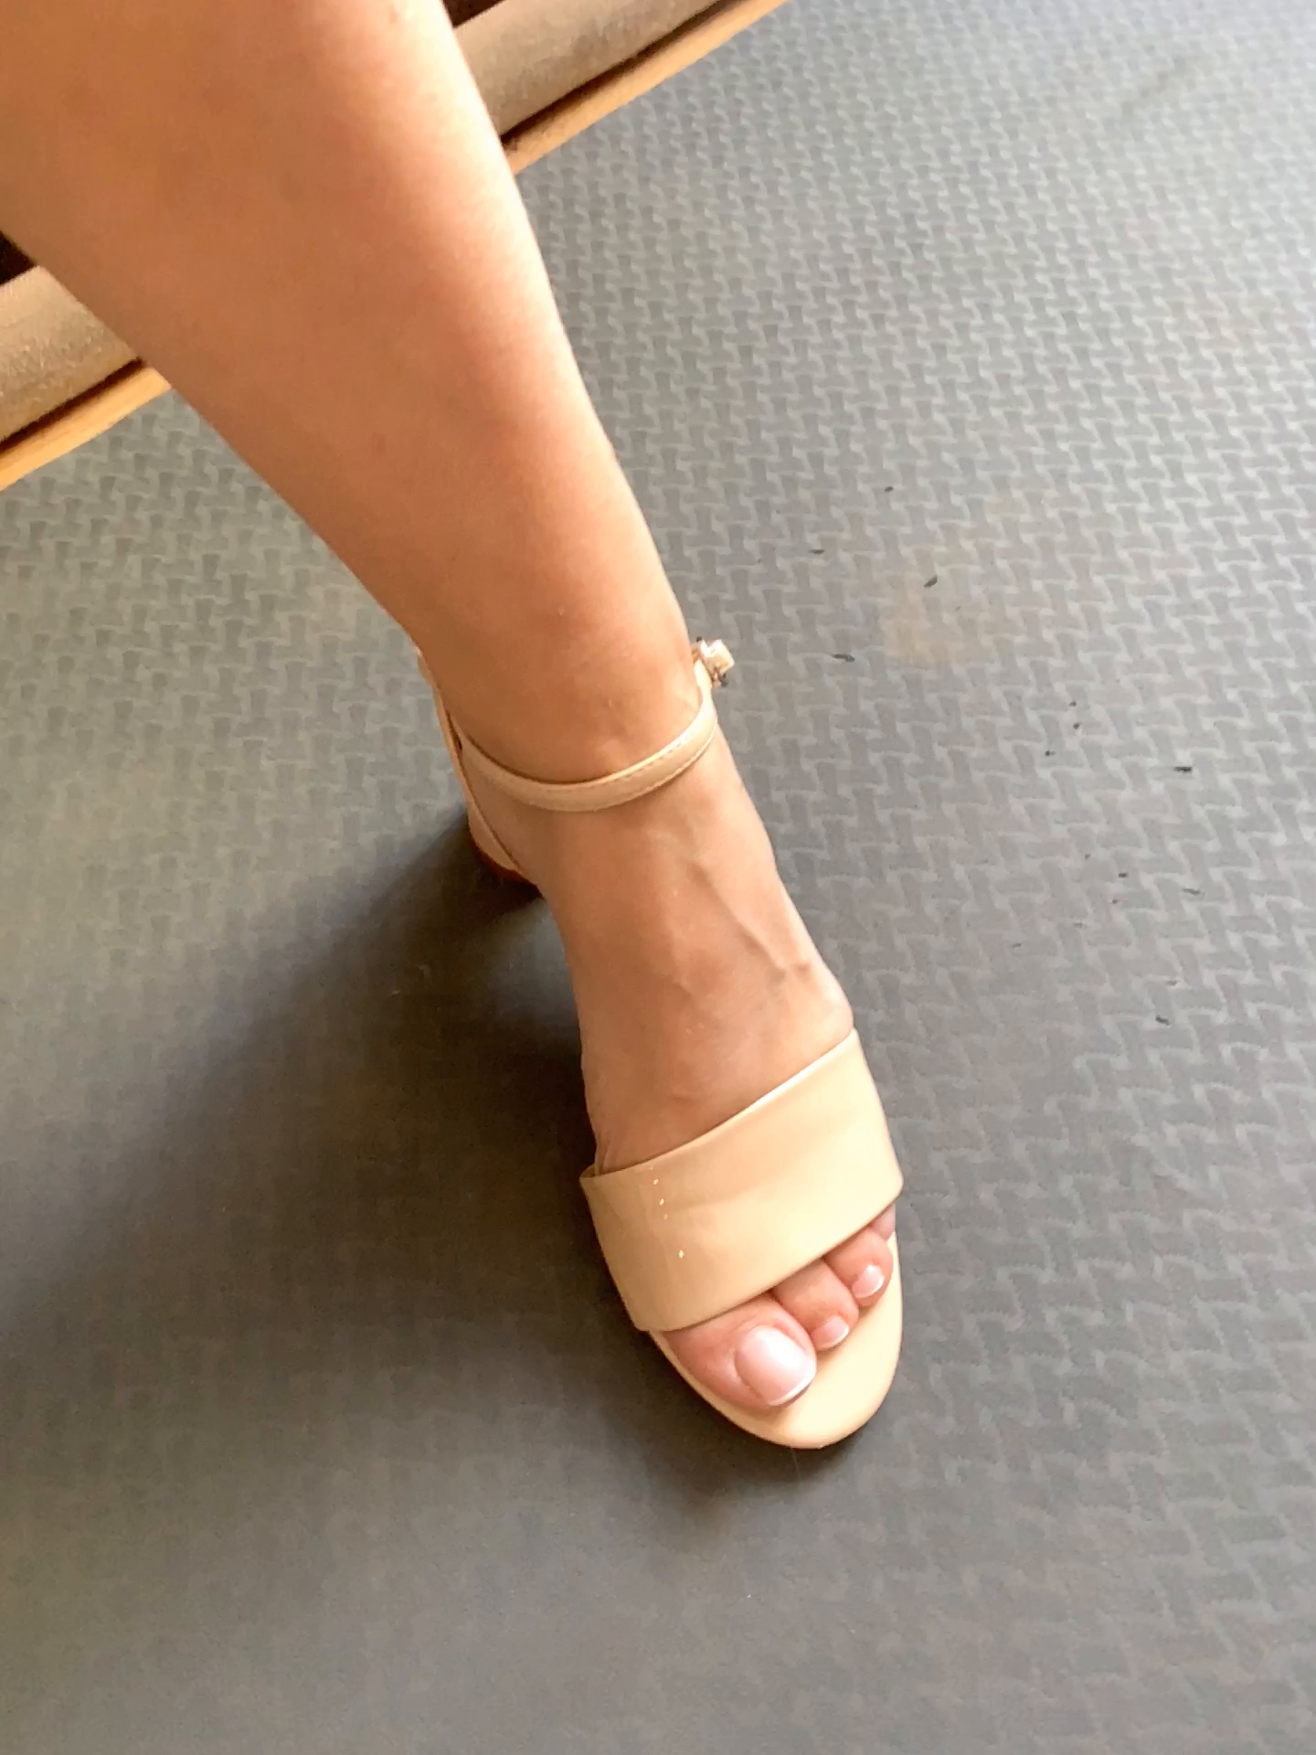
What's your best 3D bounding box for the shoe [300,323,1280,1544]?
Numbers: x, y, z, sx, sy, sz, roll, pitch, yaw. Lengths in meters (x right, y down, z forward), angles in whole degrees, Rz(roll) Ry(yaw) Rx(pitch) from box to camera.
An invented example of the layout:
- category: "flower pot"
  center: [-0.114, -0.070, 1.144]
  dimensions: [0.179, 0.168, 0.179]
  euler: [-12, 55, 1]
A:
- category: "shoe"
  center: [0.009, 0.005, 0.322]
  dimensions: [0.090, 0.120, 0.251]
  euler: [-22, 61, -11]
